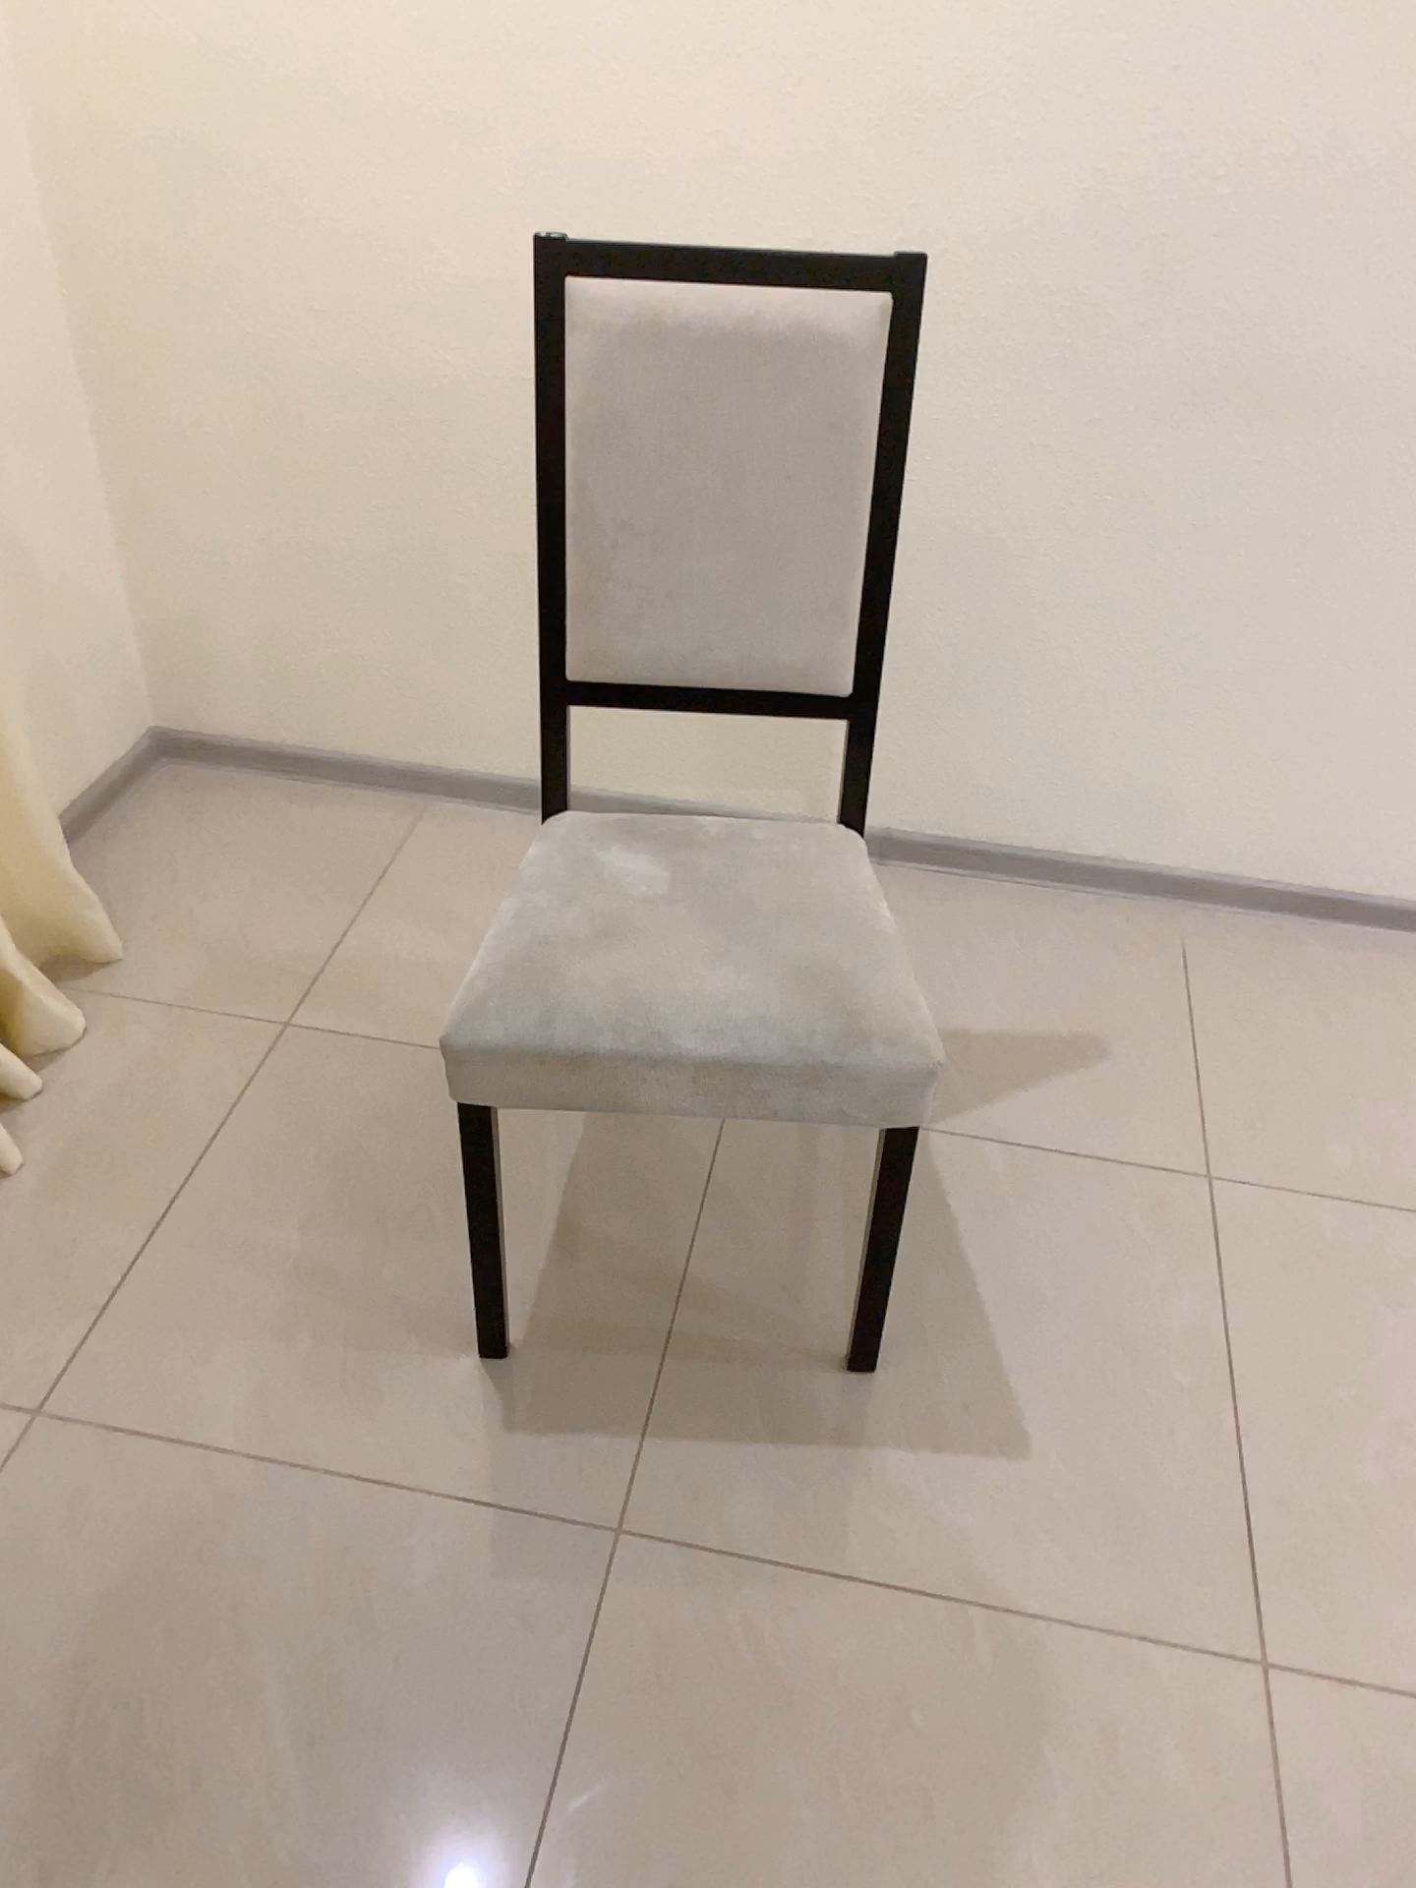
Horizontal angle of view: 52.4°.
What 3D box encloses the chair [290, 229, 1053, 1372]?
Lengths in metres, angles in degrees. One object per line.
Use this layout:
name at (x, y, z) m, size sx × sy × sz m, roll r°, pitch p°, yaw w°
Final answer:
chair at (-0.018, -0.109, 1.397) m, size 0.480 × 0.964 × 0.513 m, roll 2°, pitch 37°, yaw 1°
